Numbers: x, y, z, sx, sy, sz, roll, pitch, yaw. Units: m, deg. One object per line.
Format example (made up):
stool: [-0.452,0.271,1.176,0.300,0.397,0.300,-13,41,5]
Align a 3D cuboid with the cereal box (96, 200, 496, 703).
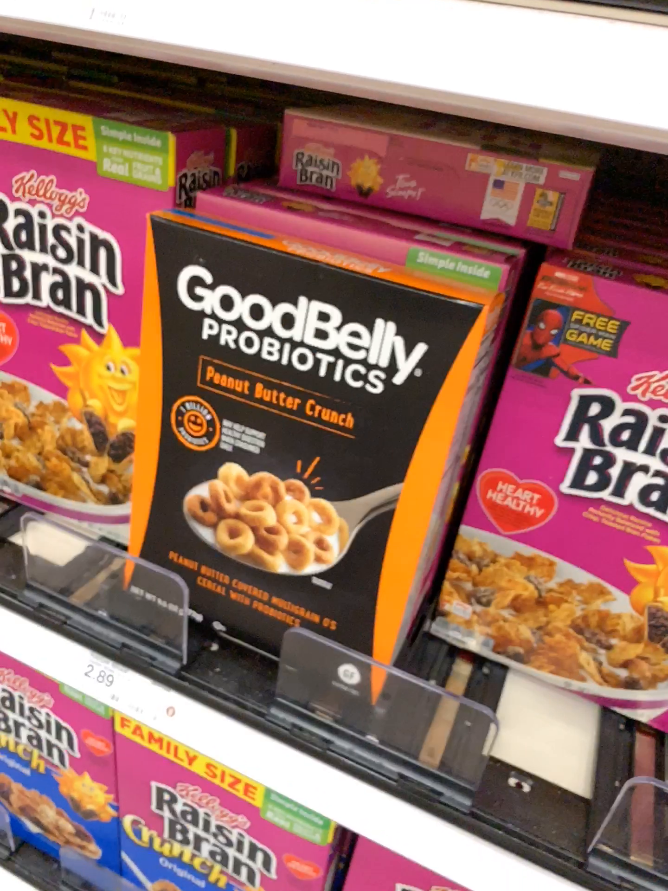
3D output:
cereal box: [-0.039,0.004,0.415,0.200,0.249,0.050,18,25,16]
